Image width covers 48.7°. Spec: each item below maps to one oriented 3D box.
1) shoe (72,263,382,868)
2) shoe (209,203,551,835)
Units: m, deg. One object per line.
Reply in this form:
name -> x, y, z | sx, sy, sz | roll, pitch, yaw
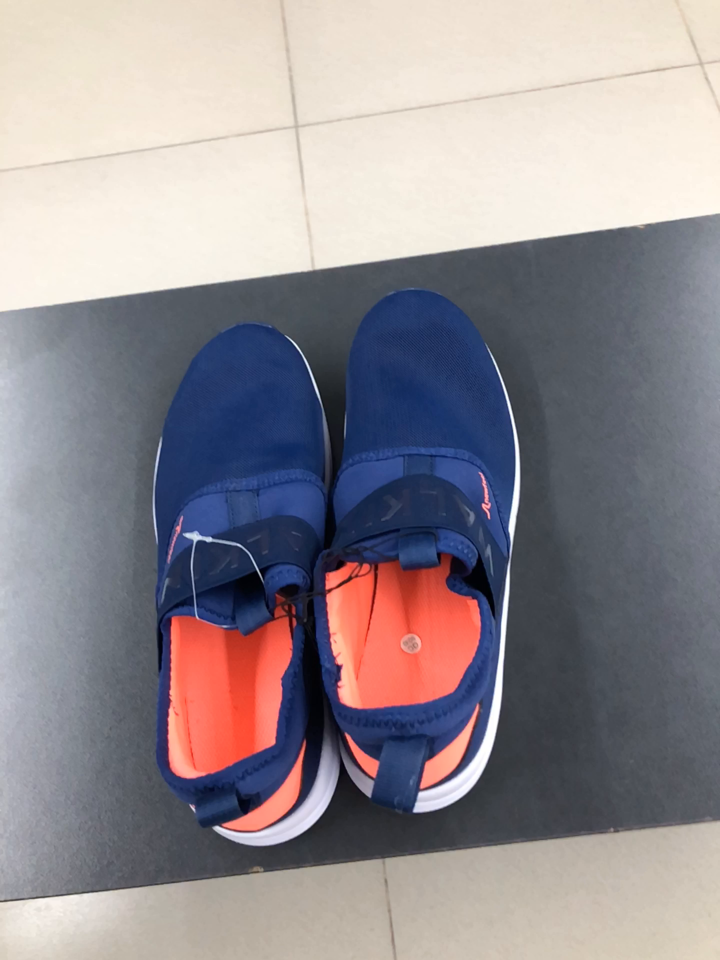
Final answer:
shoe -> -0.057, 0.041, 0.398 | 0.110, 0.120, 0.261 | -5, 68, 3
shoe -> 0.019, 0.020, 0.351 | 0.110, 0.120, 0.241 | -2, 68, 11
